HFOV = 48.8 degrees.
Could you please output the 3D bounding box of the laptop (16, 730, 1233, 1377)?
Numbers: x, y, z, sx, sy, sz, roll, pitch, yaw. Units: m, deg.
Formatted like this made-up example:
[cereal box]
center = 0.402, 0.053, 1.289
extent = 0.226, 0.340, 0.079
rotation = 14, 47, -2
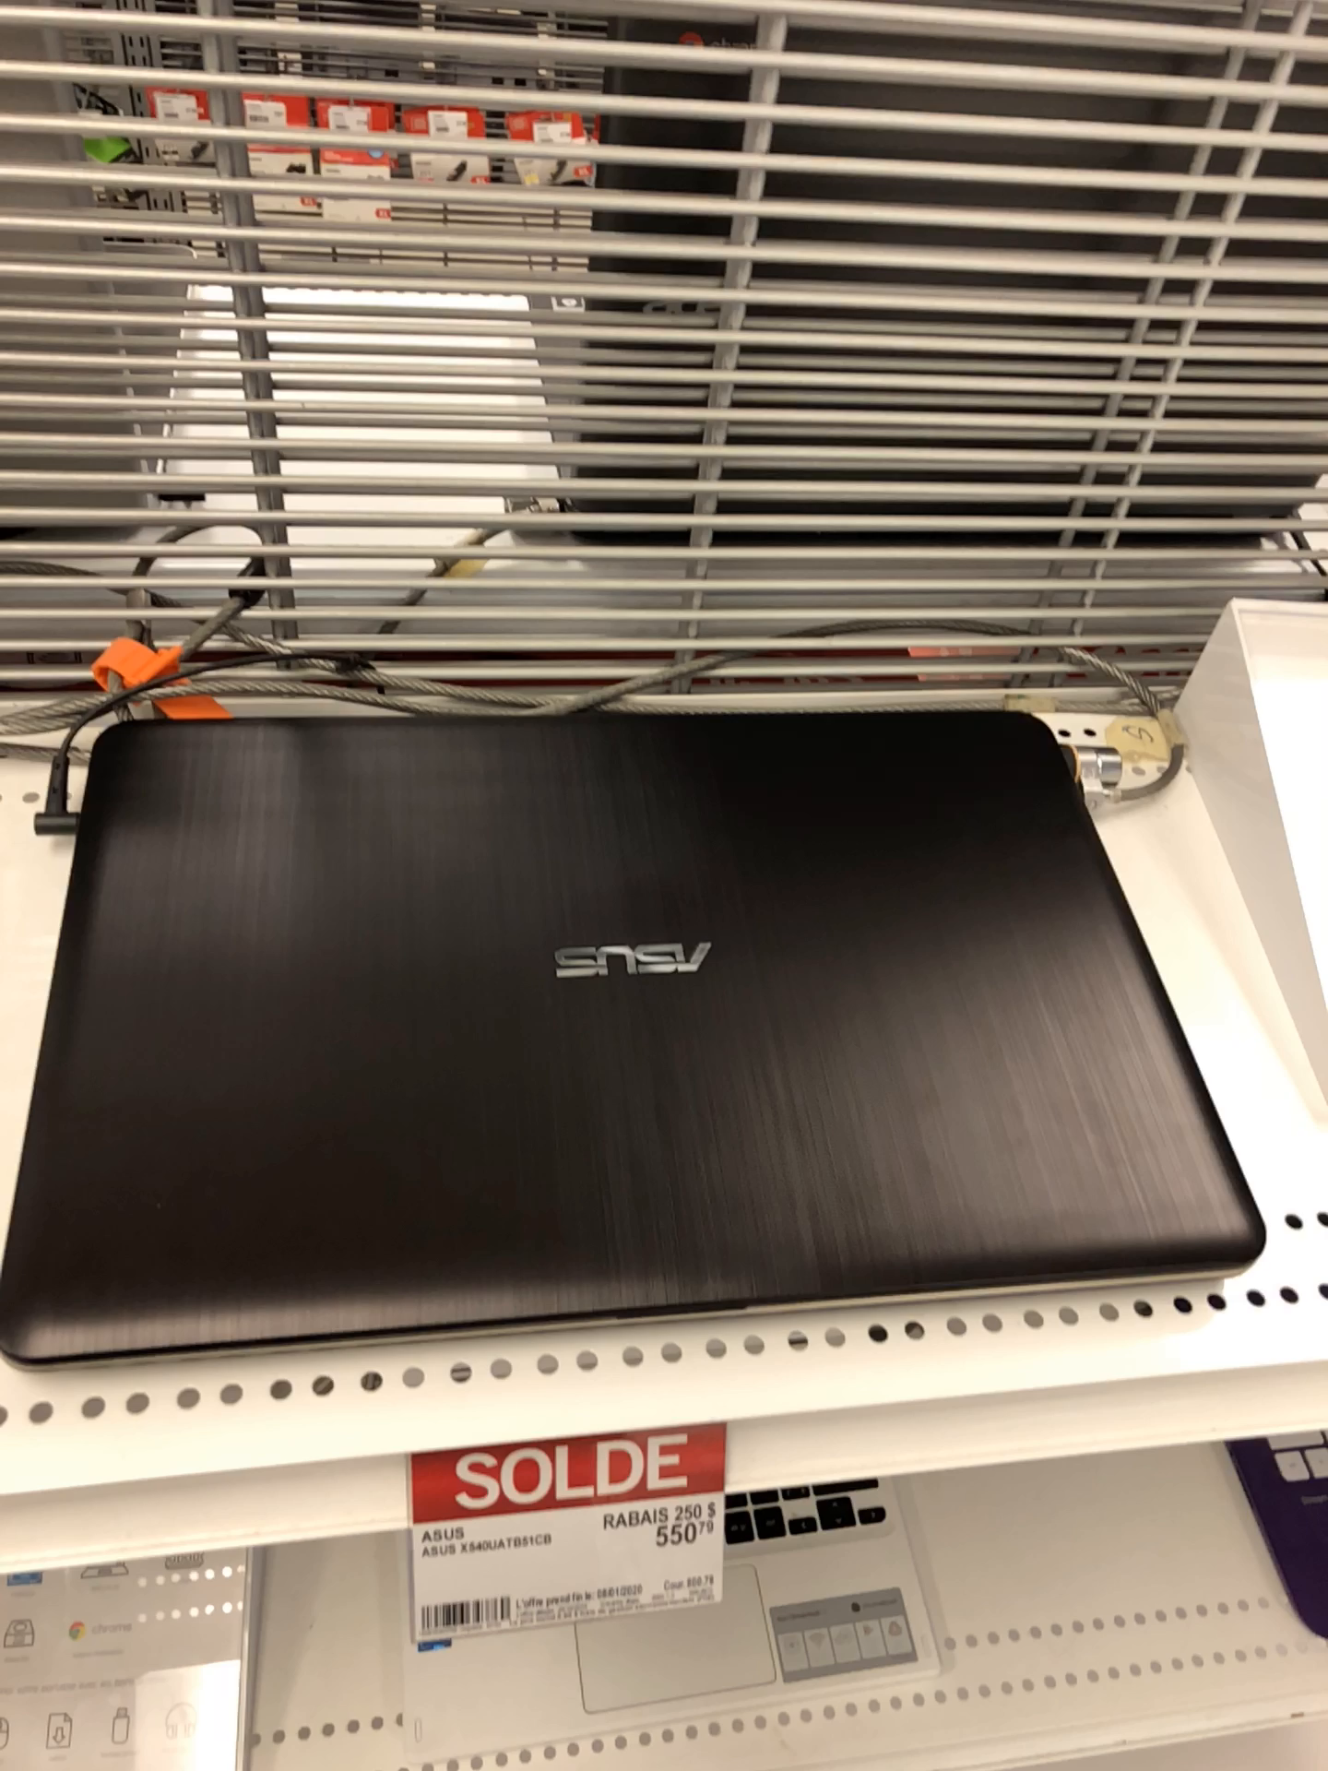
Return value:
[laptop]
center = -0.009, 0.035, 0.512
extent = 0.367, 0.013, 0.235
rotation = -1, 50, -12
